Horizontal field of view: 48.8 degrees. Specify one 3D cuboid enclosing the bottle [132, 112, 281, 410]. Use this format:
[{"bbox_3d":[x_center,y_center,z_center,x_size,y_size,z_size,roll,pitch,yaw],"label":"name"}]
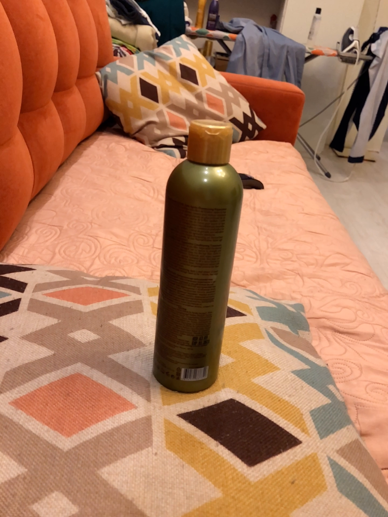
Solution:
[{"bbox_3d":[0.005,0.002,0.289,0.060,0.179,0.070,16,27,19],"label":"bottle"}]
